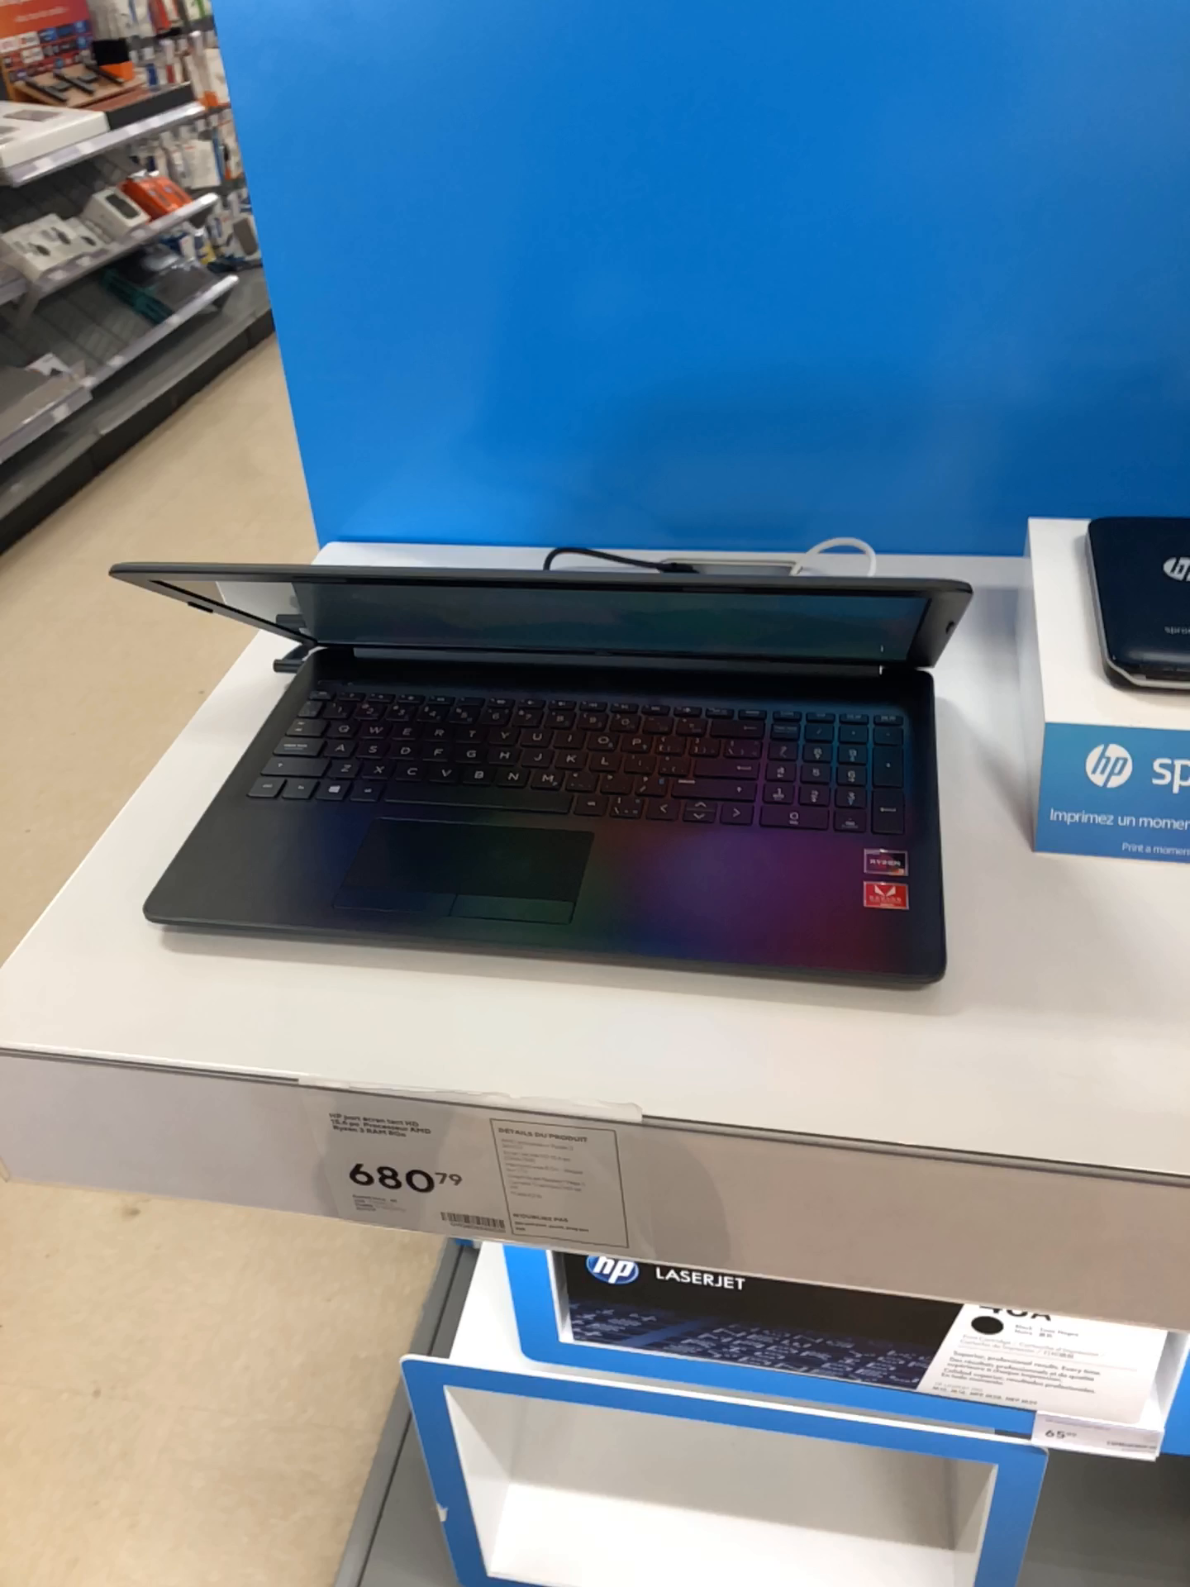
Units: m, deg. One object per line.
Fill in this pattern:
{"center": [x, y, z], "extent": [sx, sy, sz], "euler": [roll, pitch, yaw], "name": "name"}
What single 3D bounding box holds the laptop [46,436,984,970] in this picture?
{"center": [-0.017, -0.060, 0.620], "extent": [0.355, 0.130, 0.243], "euler": [3, 36, 8], "name": "laptop"}
